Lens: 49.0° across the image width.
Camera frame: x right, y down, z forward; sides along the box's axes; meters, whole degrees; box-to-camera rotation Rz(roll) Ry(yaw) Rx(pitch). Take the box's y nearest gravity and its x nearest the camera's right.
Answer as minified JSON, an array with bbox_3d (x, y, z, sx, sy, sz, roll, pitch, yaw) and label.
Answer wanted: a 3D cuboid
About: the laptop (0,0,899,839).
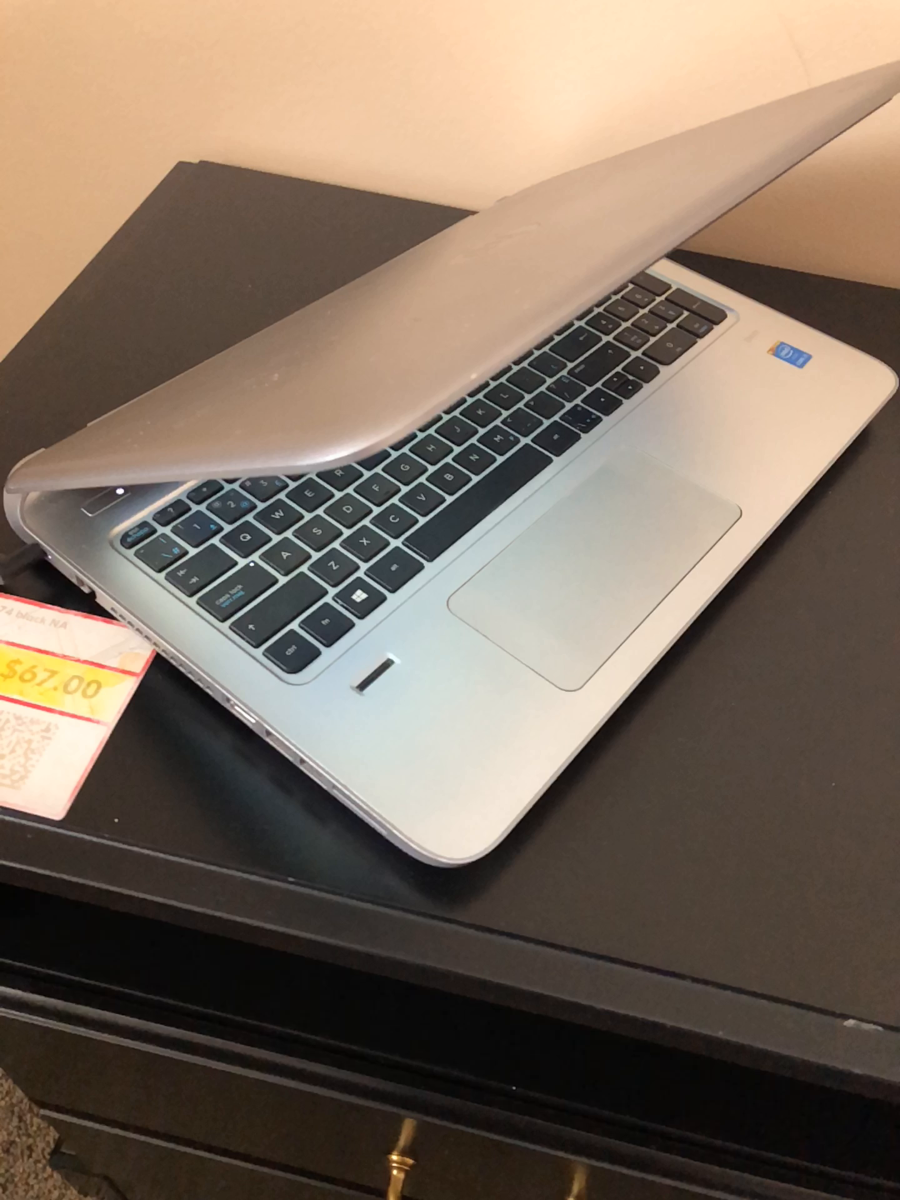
[{"bbox_3d":[0.037,-0.125,0.405,0.228,0.153,0.356,34,54,22],"label":"laptop"}]
